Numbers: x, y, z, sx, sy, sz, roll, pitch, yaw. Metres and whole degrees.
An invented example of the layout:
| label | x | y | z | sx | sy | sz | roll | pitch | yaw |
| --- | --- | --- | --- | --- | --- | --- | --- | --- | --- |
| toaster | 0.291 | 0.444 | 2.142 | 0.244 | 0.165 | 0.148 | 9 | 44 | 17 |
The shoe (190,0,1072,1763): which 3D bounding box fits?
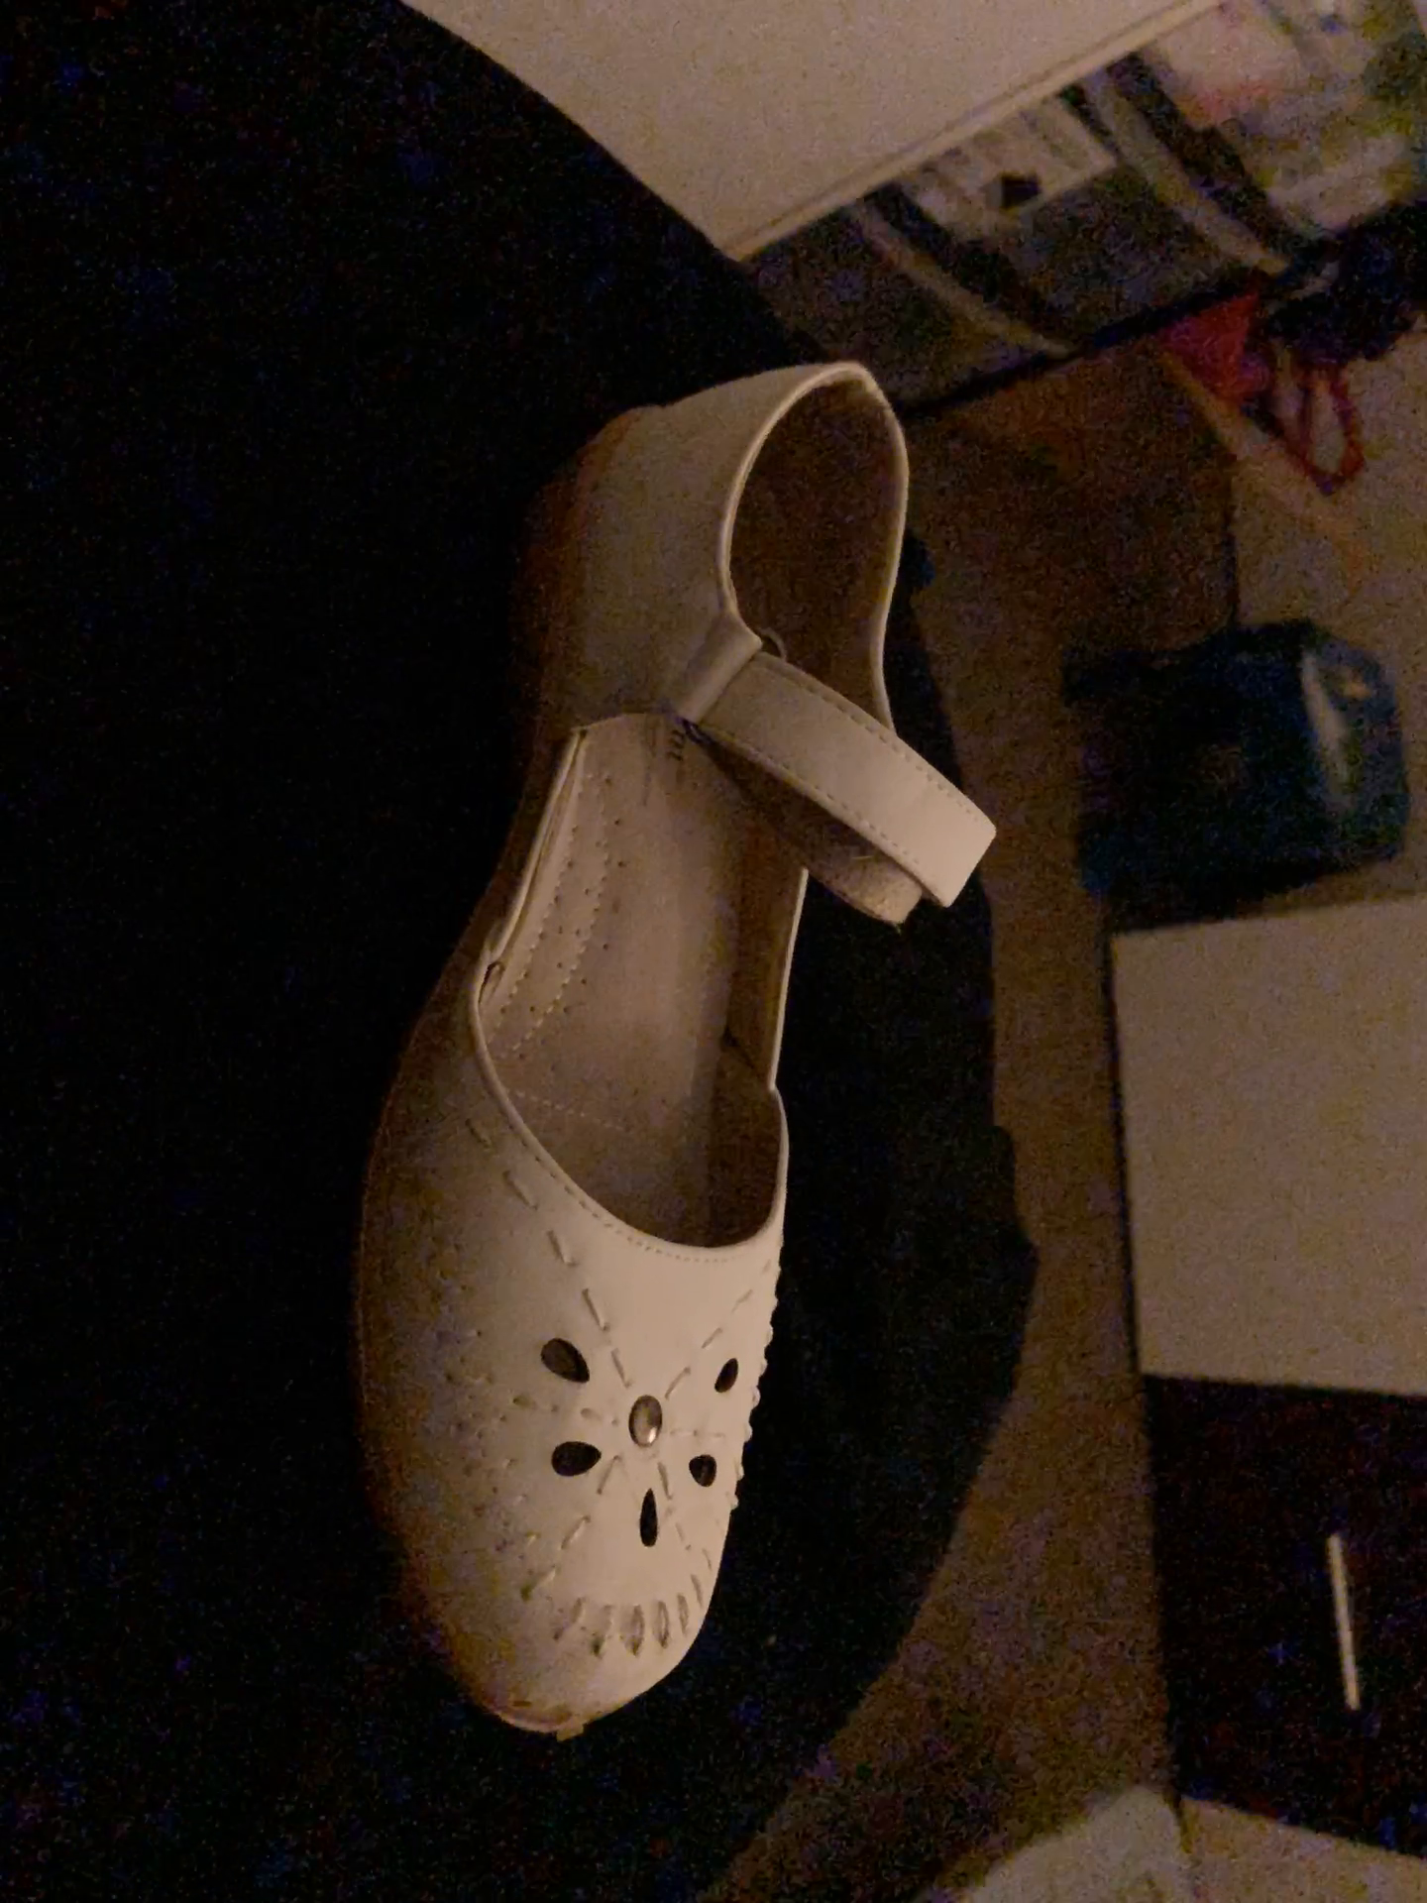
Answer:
| label | x | y | z | sx | sy | sz | roll | pitch | yaw |
| --- | --- | --- | --- | --- | --- | --- | --- | --- | --- |
| shoe | -0.004 | -0.016 | 0.278 | 0.098 | 0.099 | 0.271 | 21 | 67 | -45 |
